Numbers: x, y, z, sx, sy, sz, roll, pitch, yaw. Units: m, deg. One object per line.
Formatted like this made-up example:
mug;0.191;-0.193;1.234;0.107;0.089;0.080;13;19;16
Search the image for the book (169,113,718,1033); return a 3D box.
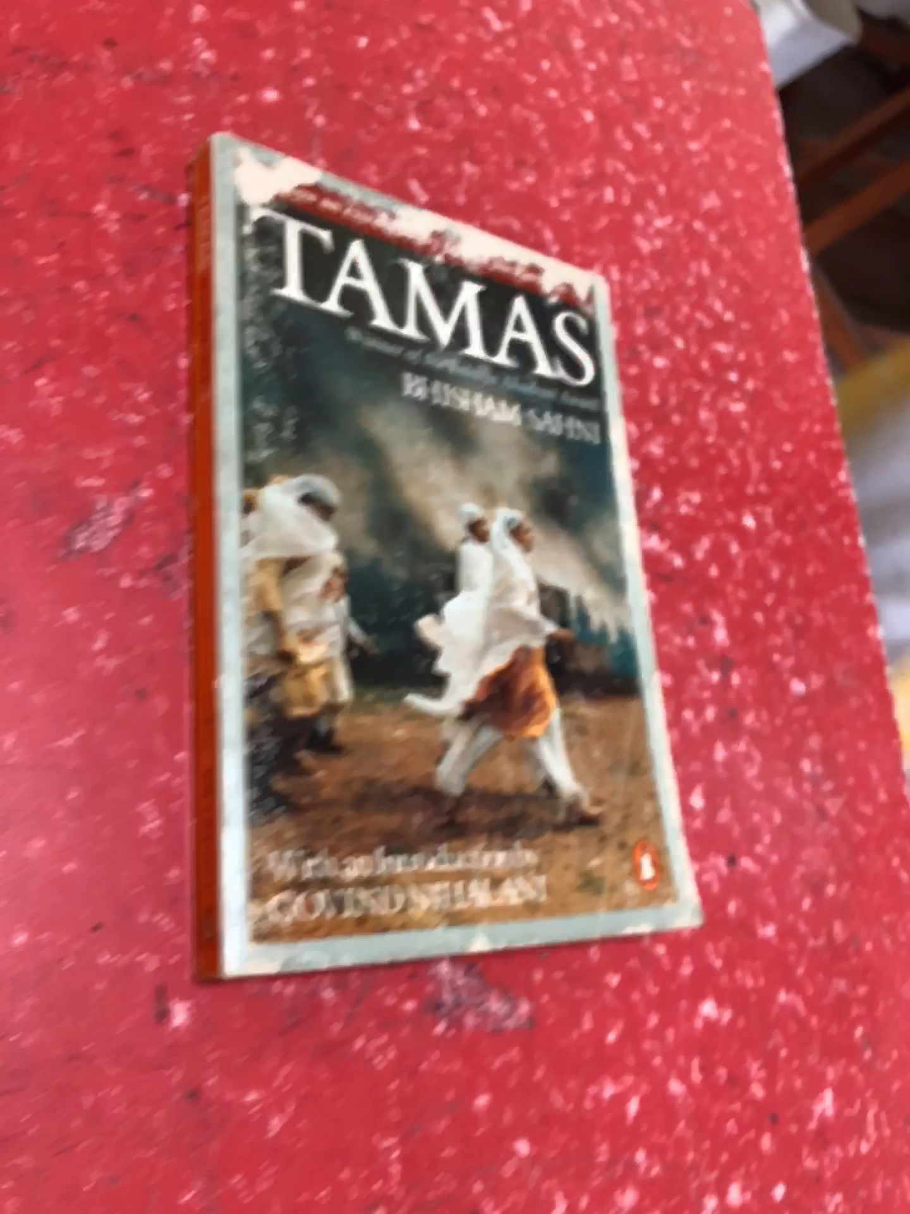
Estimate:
book;-0.003;-0.011;0.257;0.131;0.020;0.200;7;69;-35
